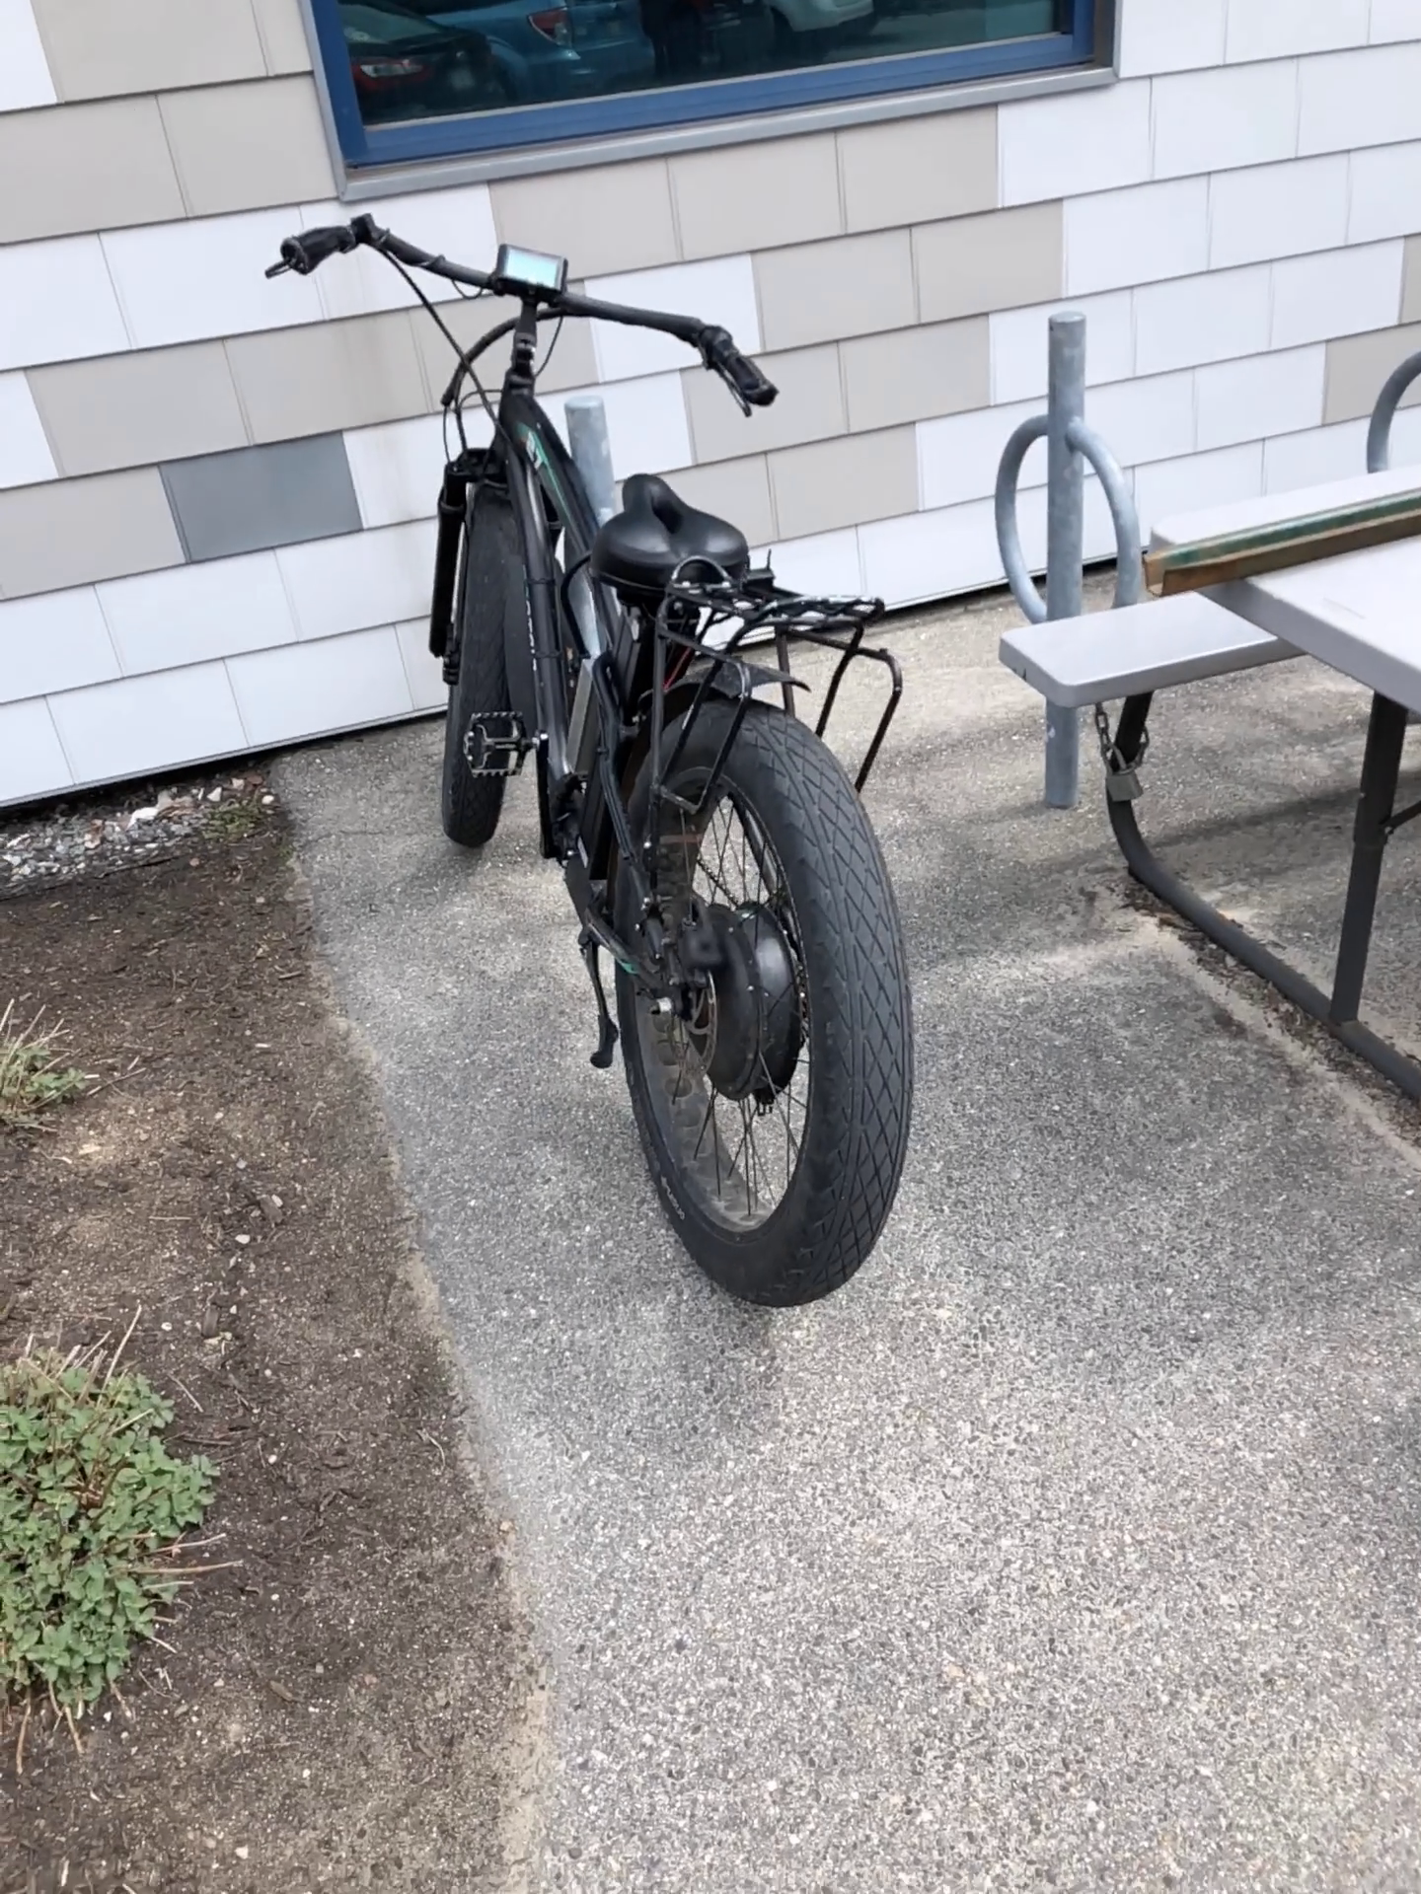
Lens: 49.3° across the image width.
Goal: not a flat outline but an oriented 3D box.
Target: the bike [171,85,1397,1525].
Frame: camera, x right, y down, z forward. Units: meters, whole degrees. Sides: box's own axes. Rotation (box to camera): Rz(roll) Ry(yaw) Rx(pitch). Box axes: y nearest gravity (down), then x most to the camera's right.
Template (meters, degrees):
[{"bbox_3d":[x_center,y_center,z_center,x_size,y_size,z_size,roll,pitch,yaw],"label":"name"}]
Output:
[{"bbox_3d":[-0.093,-0.451,2.245,0.911,1.132,1.869,-16,36,-13],"label":"bike"}]
